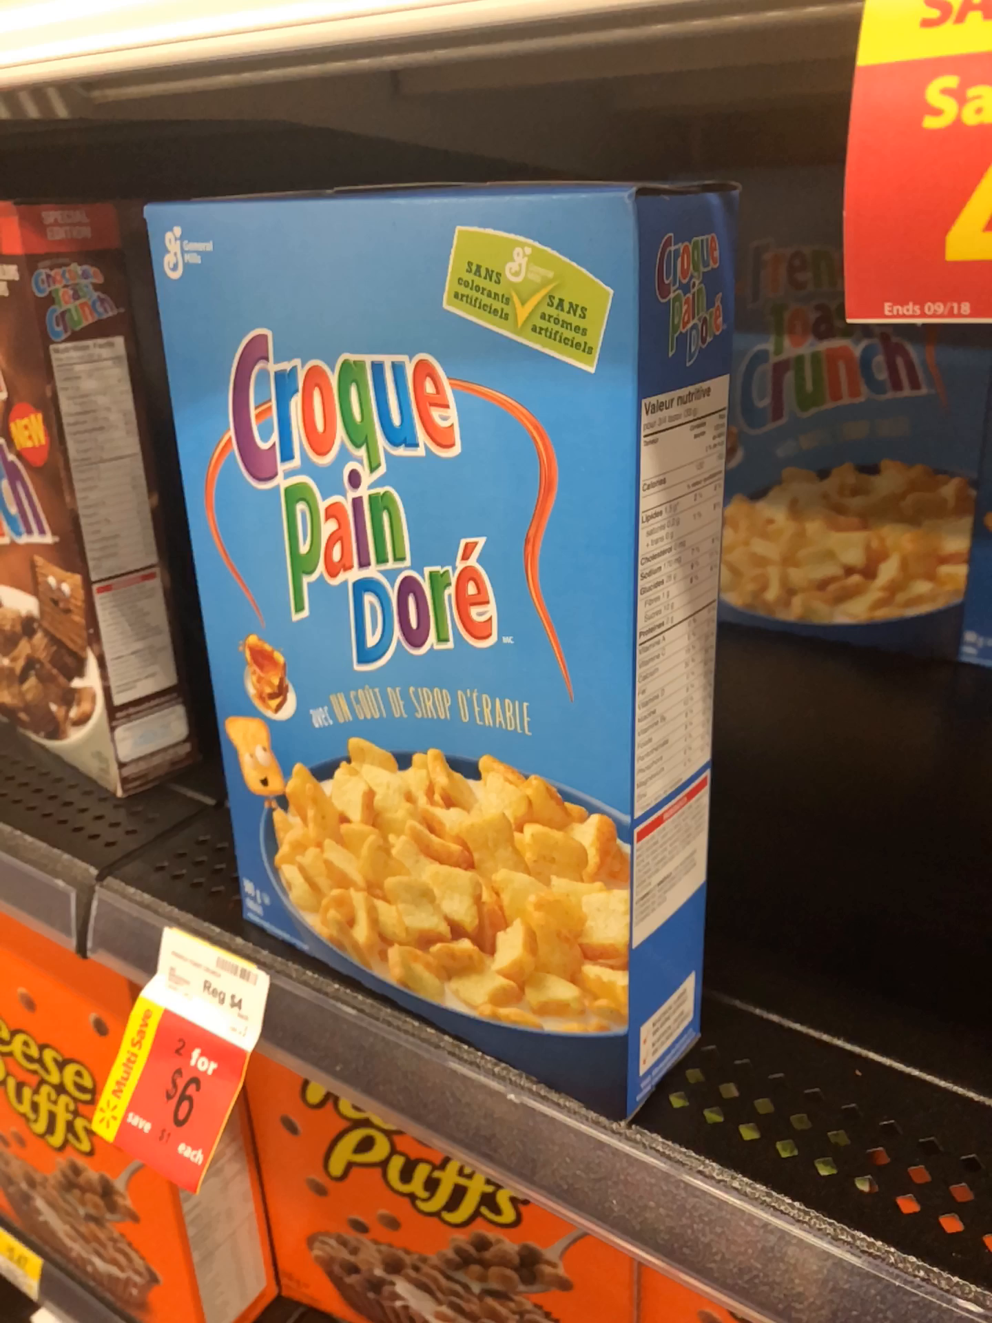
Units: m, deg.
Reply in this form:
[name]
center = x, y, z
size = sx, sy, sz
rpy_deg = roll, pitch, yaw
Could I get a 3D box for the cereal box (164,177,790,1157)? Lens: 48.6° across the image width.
[cereal box]
center = -0.015, -0.006, 0.391
size = 0.201, 0.298, 0.060
rpy_deg = 16, 27, 36
